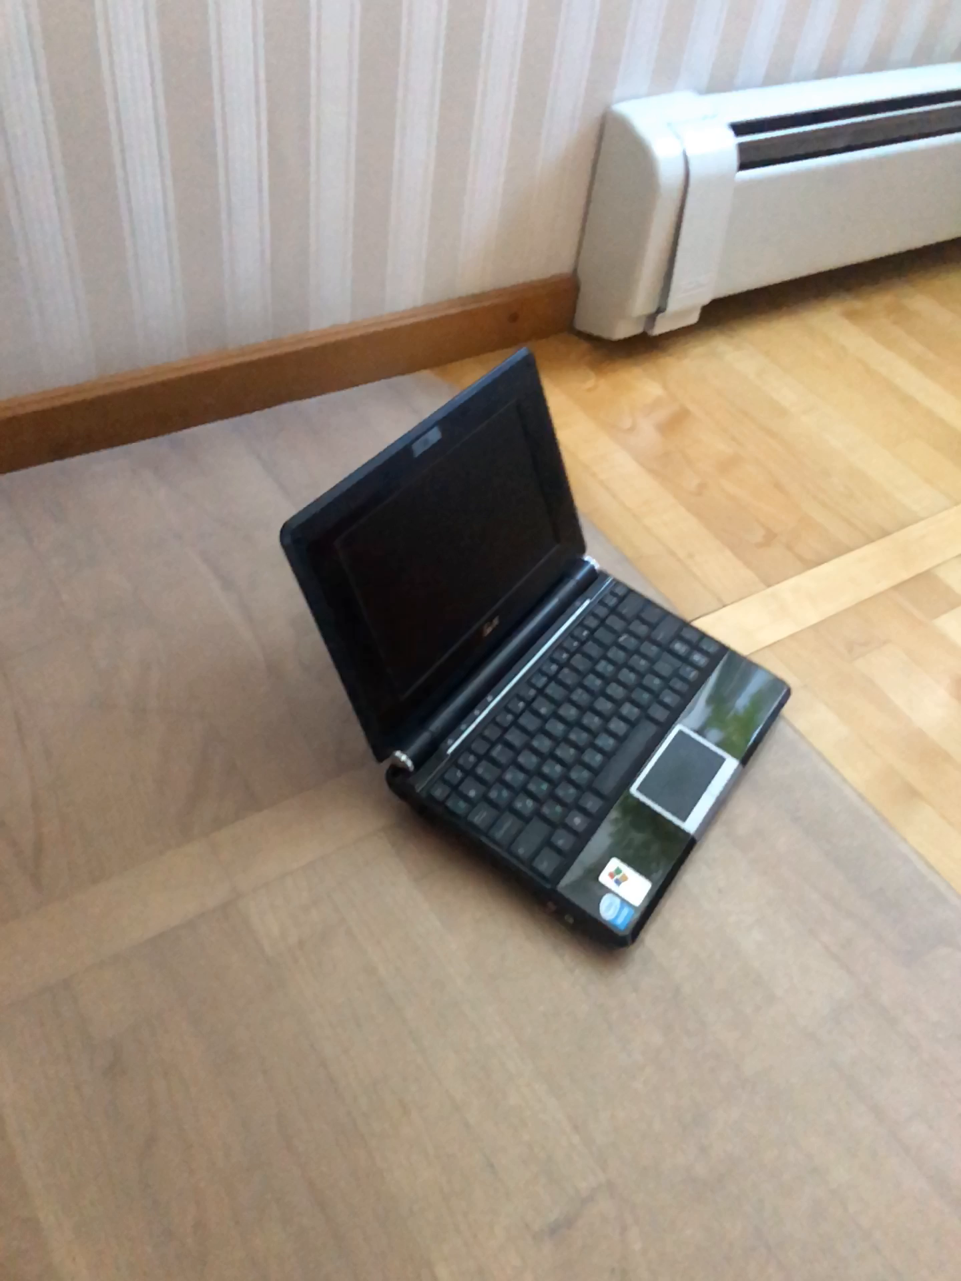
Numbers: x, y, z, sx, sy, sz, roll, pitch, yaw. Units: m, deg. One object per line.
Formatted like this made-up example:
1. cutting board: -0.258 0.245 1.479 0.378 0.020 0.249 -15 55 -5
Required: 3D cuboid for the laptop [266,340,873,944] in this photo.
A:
1. laptop: 0.057 -0.017 0.693 0.276 0.159 0.265 32 49 16
